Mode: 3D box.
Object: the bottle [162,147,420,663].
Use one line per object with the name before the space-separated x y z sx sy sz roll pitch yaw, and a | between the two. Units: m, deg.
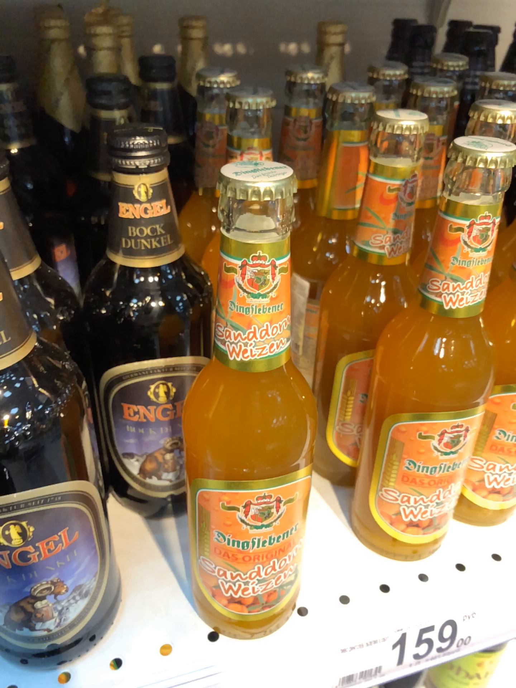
bottle | 0.003 0.039 0.248 0.070 0.225 0.060 -5 34 -11
